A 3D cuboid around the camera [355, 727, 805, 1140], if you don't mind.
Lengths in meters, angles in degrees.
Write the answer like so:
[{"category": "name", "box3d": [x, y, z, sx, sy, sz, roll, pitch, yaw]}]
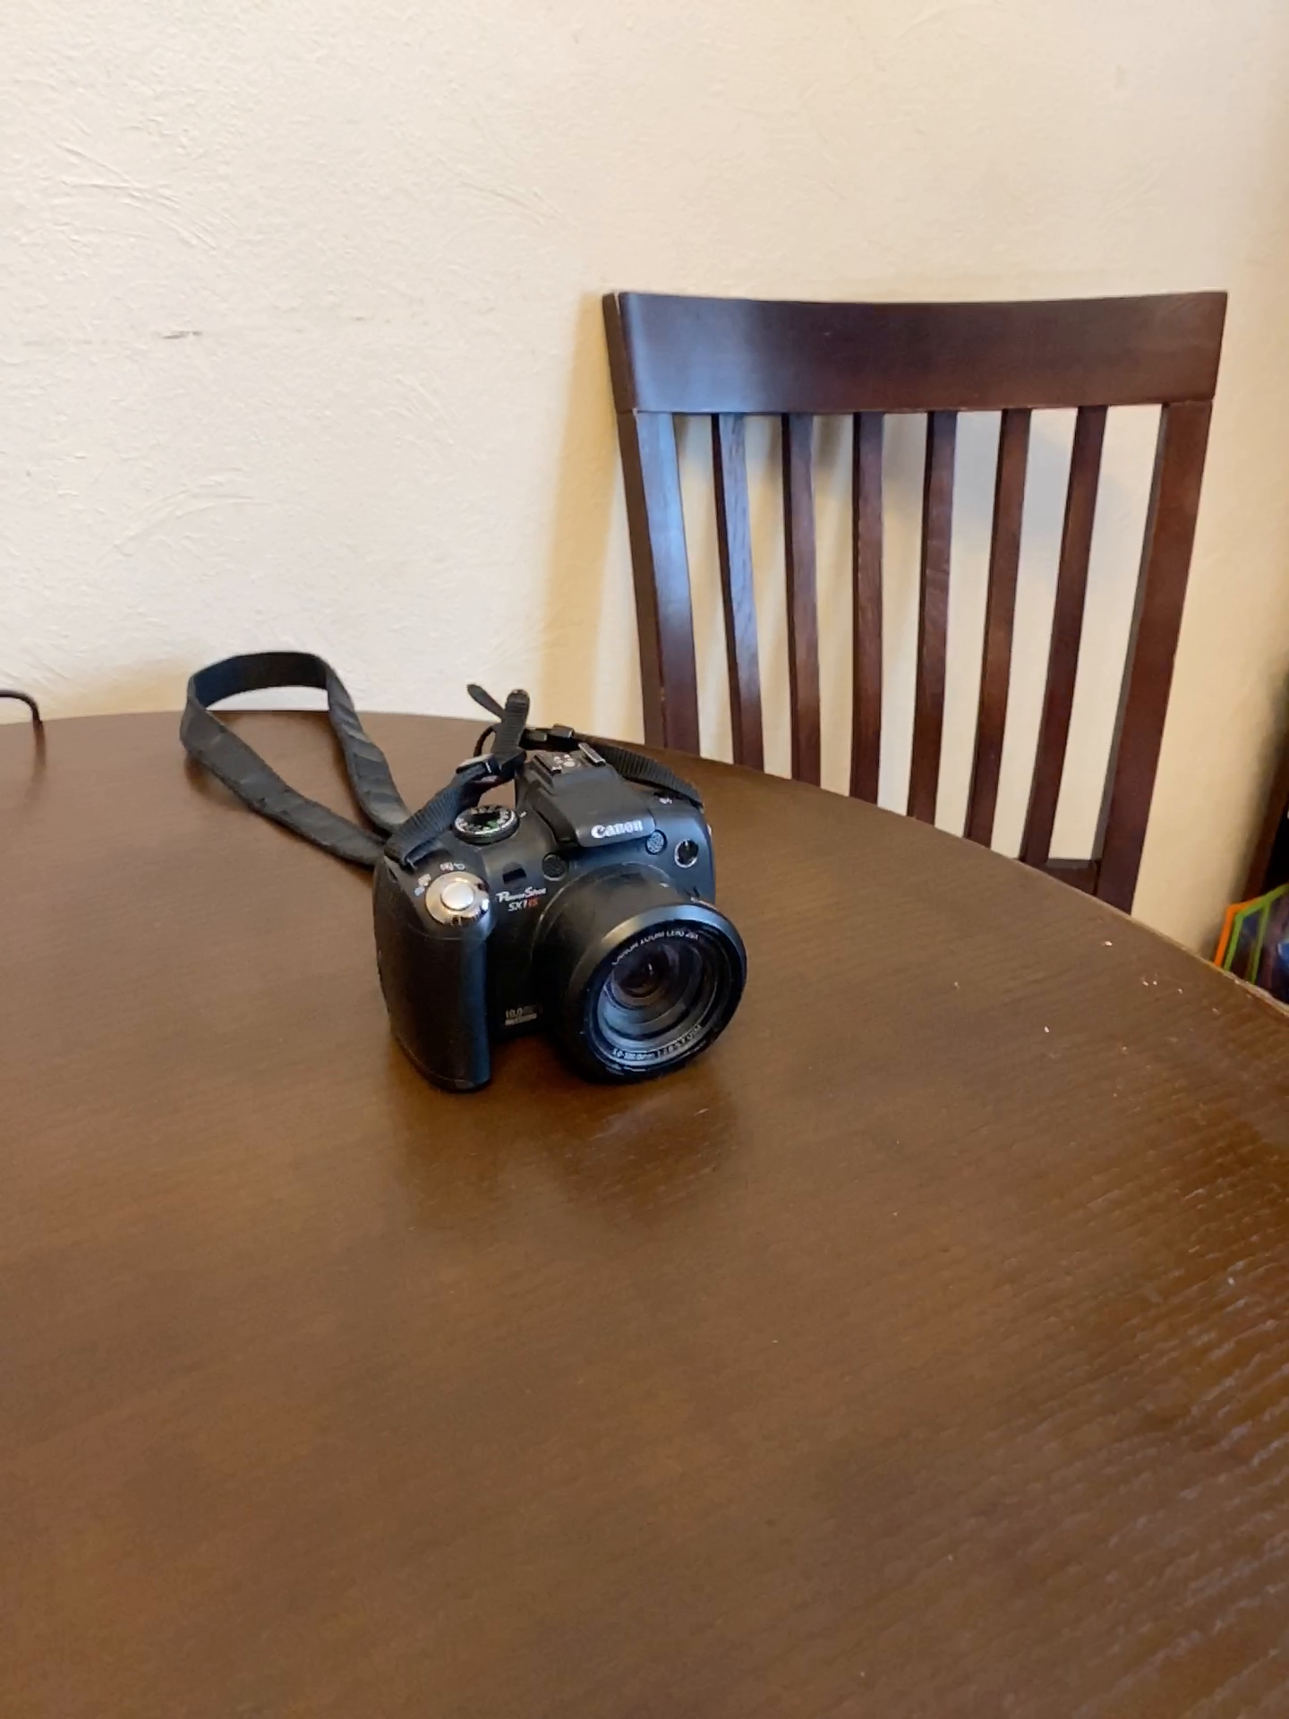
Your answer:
[{"category": "camera", "box3d": [-0.024, 0.019, 0.444, 0.123, 0.088, 0.082, -11, 30, -23]}]
